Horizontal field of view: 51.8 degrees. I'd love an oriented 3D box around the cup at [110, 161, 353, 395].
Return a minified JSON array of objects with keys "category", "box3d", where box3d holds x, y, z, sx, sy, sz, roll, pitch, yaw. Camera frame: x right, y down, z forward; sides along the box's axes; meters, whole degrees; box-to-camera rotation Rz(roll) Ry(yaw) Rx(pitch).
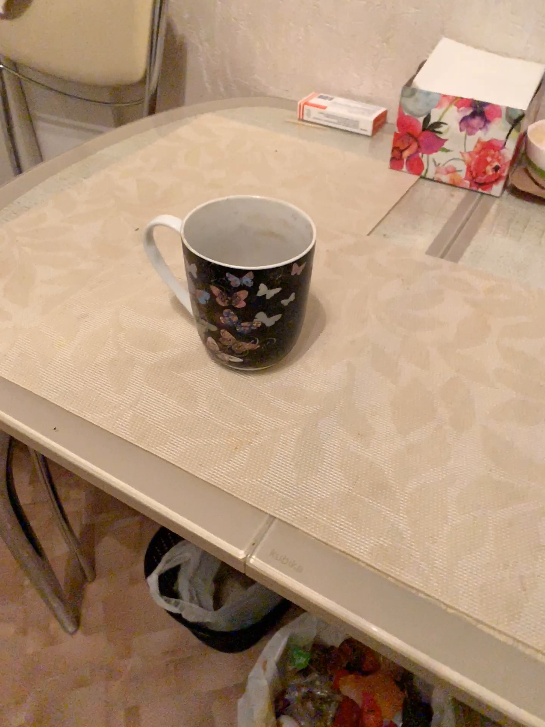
[{"category":"cup","box3d":[-0.025,-0.061,0.380,0.126,0.097,0.082,21,48,20]}]
